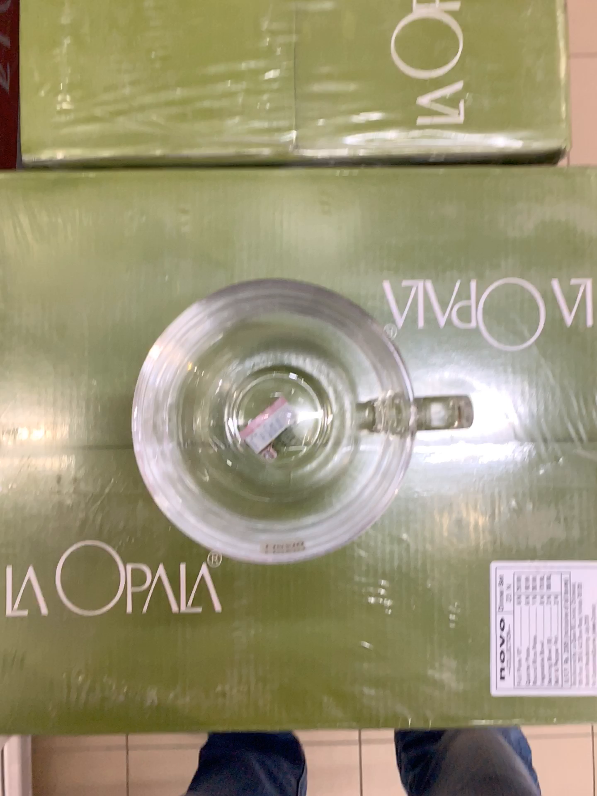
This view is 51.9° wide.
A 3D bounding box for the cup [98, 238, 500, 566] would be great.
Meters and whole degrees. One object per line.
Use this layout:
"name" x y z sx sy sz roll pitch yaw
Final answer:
"cup" 0.000 0.003 0.272 0.140 0.090 0.110 -5 87 0
